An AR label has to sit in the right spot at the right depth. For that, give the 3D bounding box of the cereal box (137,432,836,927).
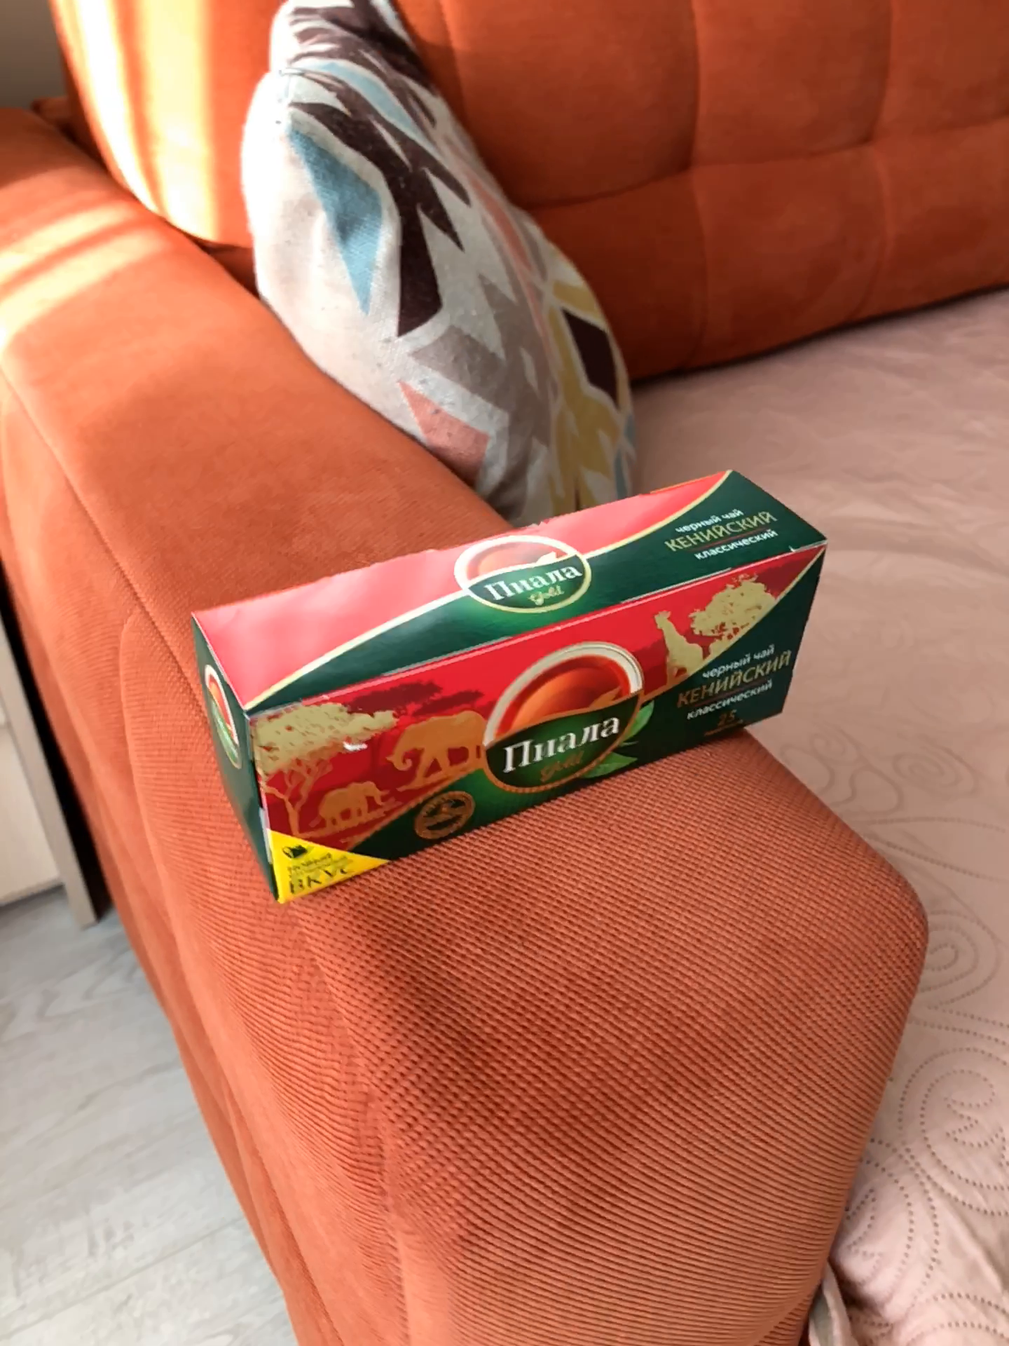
[{"bbox_3d":[0.000,-0.005,0.298,0.170,0.070,0.050,-18,40,-22],"label":"cereal box"}]
